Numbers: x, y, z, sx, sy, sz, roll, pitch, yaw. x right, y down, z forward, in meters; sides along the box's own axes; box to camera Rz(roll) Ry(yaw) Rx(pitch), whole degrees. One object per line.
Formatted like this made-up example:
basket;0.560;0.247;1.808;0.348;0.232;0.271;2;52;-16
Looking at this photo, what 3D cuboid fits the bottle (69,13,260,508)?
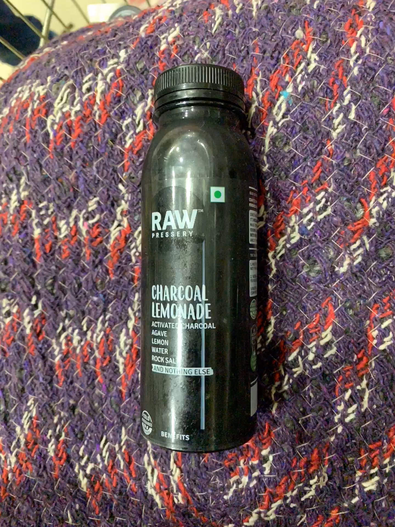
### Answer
bottle;-0.010;0.000;0.166;0.060;0.050;0.160;2;94;17
